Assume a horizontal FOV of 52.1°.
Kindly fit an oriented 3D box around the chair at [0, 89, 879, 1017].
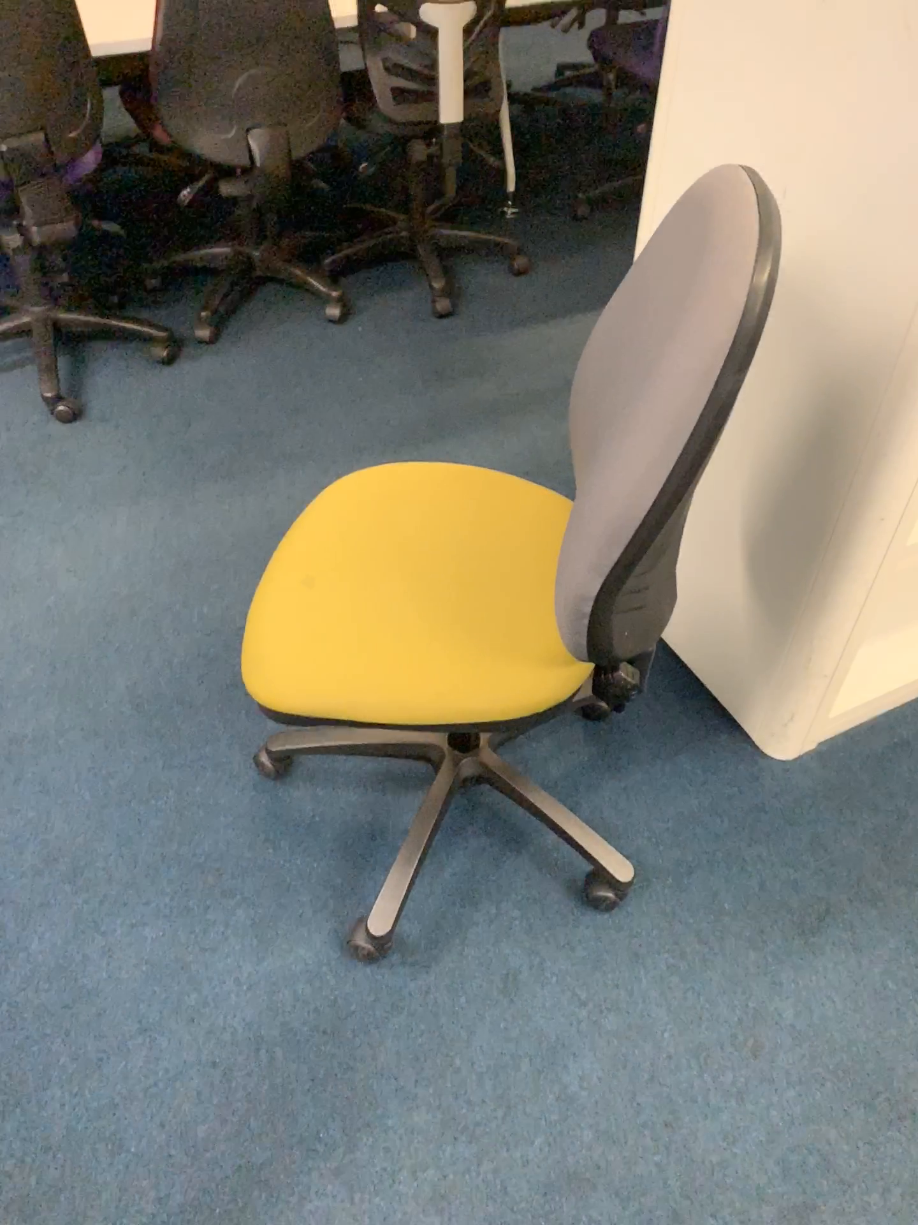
[{"bbox_3d":[-0.013,-0.042,1.198,0.660,0.921,0.646,6,45,5],"label":"chair"}]
